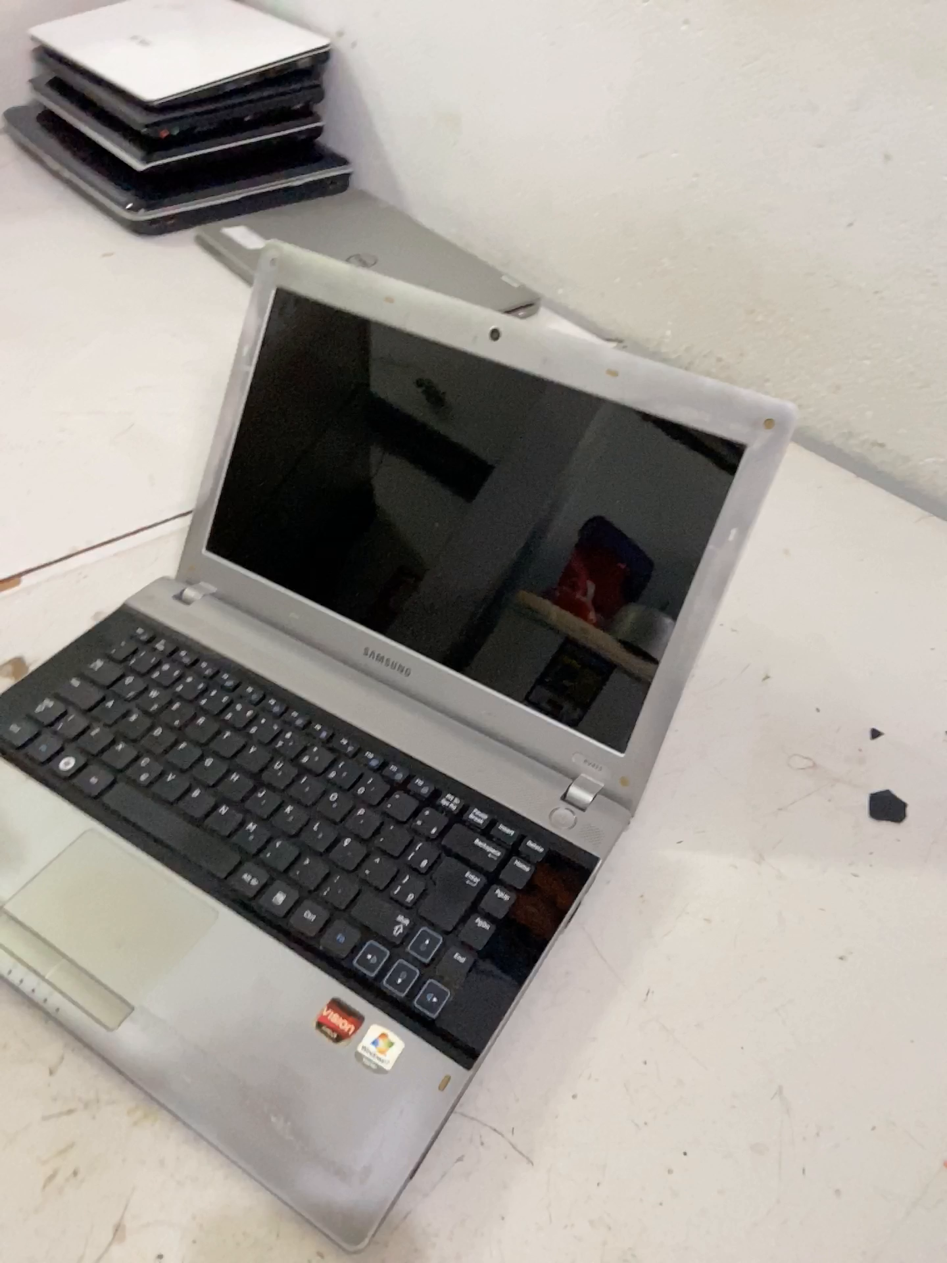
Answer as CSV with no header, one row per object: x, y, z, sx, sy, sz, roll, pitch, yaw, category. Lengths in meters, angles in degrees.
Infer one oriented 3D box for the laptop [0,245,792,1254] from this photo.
-0.089,-0.004,0.483,0.342,0.180,0.368,25,48,23,laptop
